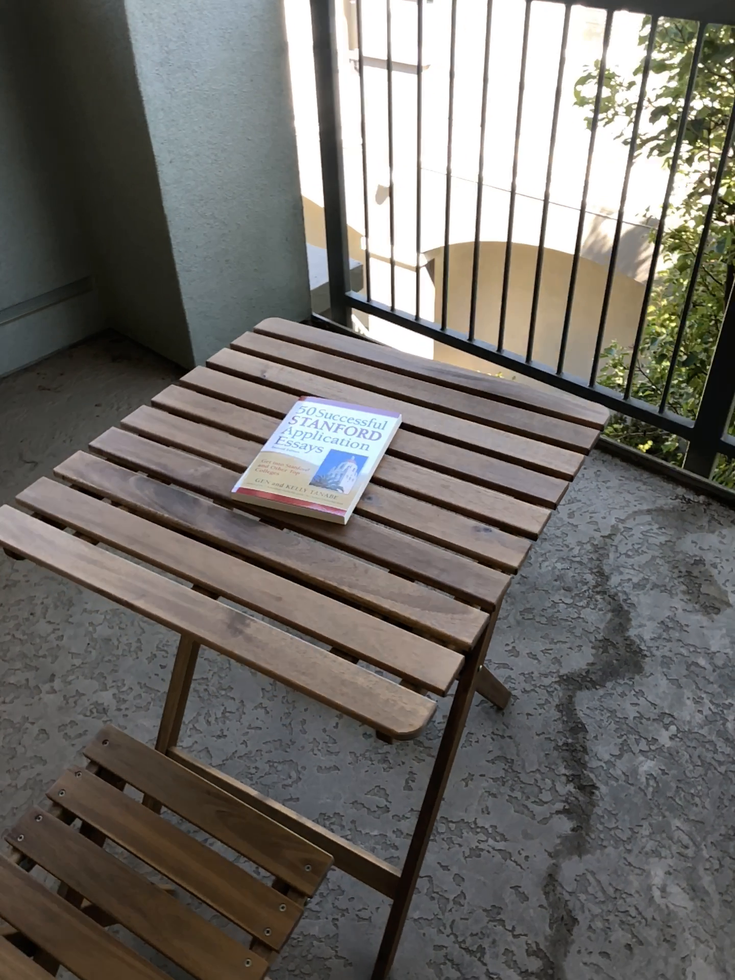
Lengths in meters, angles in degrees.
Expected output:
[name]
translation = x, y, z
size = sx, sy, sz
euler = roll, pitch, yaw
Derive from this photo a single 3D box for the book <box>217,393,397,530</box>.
[book]
translation = -0.070, -0.045, 1.045
size = 0.157, 0.020, 0.224
euler = 11, 42, 16
